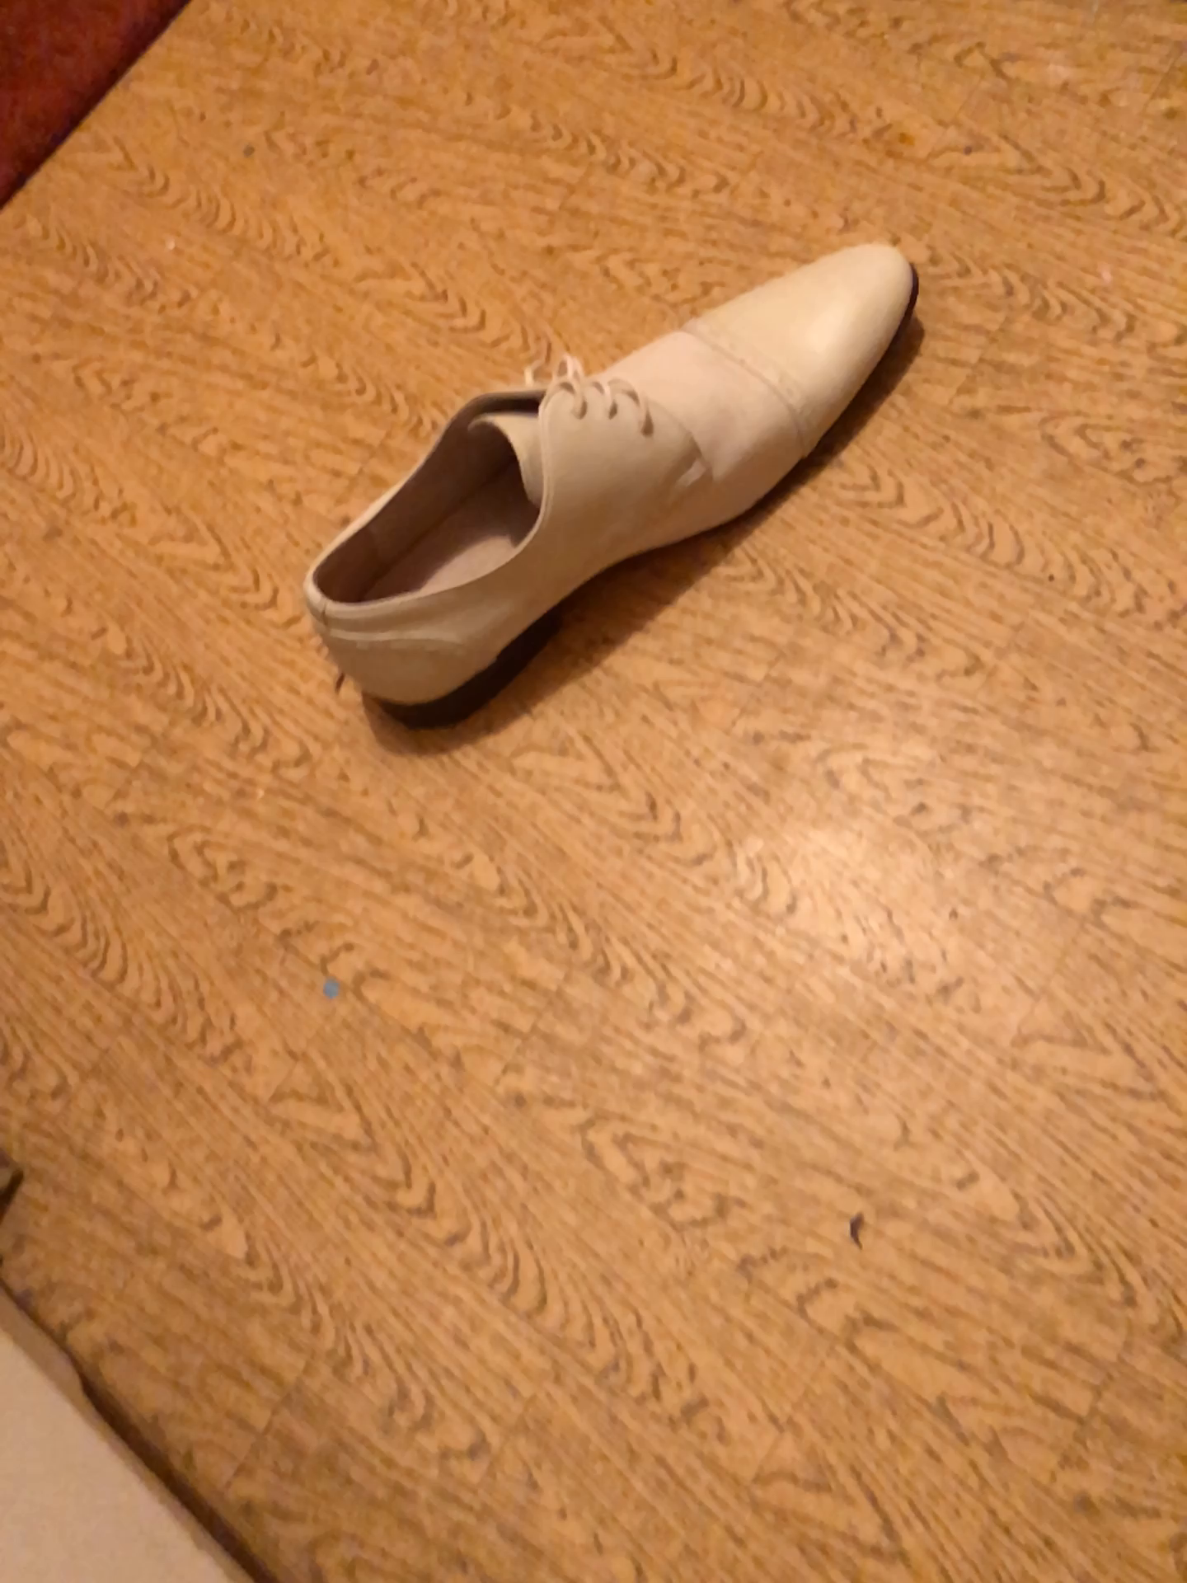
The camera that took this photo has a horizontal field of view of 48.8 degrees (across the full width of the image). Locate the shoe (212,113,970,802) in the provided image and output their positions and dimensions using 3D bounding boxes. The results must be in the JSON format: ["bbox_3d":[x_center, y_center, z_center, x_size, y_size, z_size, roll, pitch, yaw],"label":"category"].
[{"bbox_3d":[0.006,-0.141,0.571,0.310,0.100,0.100,-36,65,-2],"label":"shoe"}]
